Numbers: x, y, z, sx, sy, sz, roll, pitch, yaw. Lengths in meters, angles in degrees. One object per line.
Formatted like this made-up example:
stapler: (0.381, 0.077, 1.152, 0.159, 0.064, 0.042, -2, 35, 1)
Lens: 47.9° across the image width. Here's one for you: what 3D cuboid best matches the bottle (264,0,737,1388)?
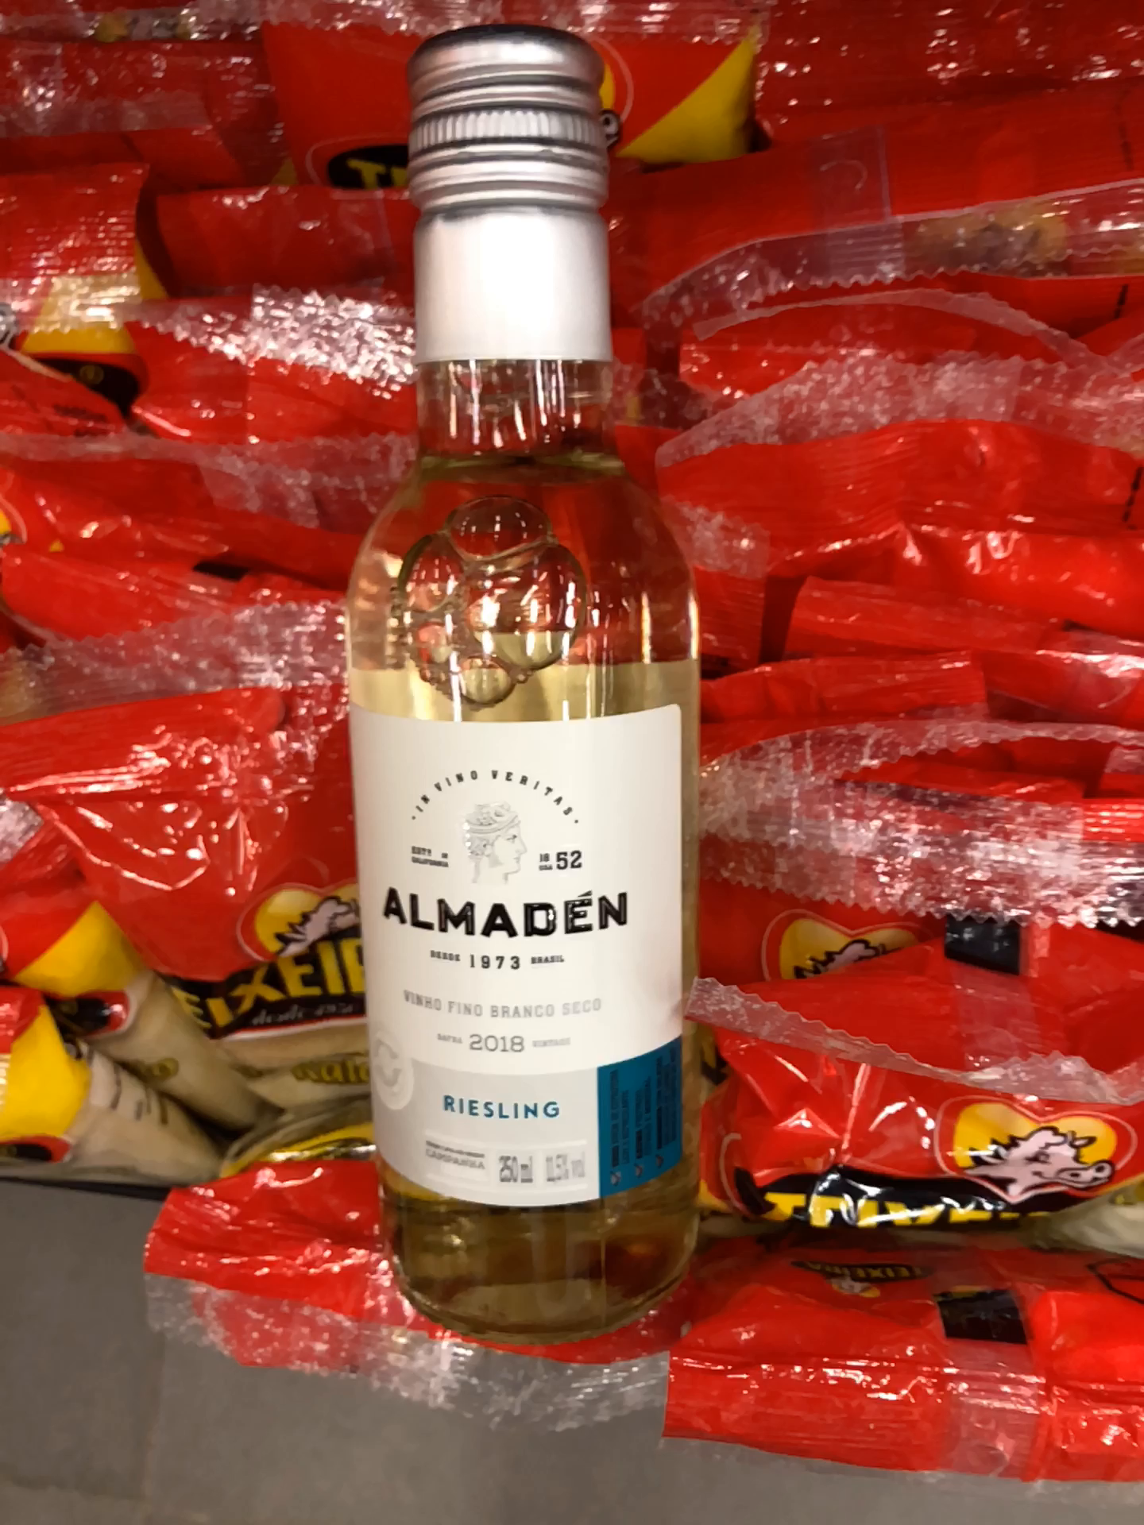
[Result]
bottle: (-0.009, -0.013, 0.204, 0.060, 0.040, 0.210, 3, 100, 11)
